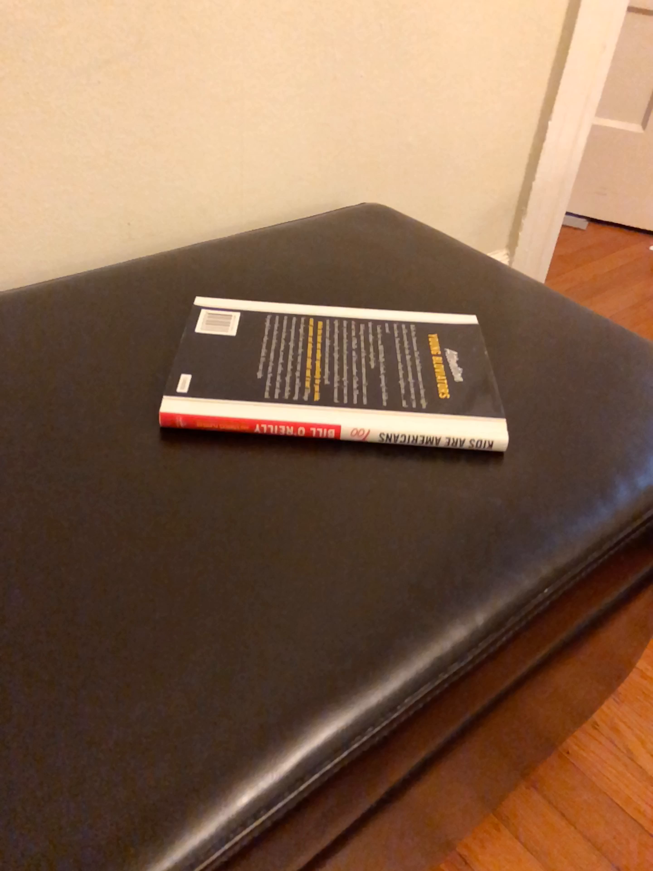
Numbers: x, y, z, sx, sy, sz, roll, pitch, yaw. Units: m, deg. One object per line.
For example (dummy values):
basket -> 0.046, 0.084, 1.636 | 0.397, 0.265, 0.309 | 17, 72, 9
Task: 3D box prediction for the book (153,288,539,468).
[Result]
book -> 0.013, -0.046, 0.493 | 0.230, 0.020, 0.161 | 4, 39, -3
